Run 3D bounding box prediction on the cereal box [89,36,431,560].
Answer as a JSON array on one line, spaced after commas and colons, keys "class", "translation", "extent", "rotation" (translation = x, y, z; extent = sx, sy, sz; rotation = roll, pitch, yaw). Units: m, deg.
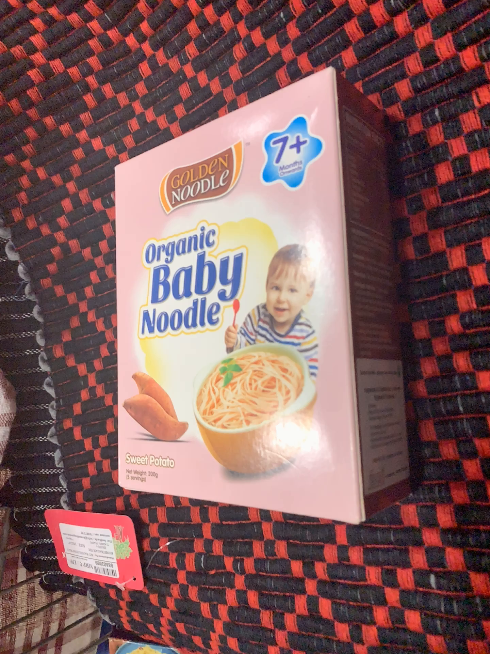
[{"class": "cereal box", "translation": [-0.003, -0.005, 0.213], "extent": [0.131, 0.050, 0.160], "rotation": [-7, 84, 39]}]
